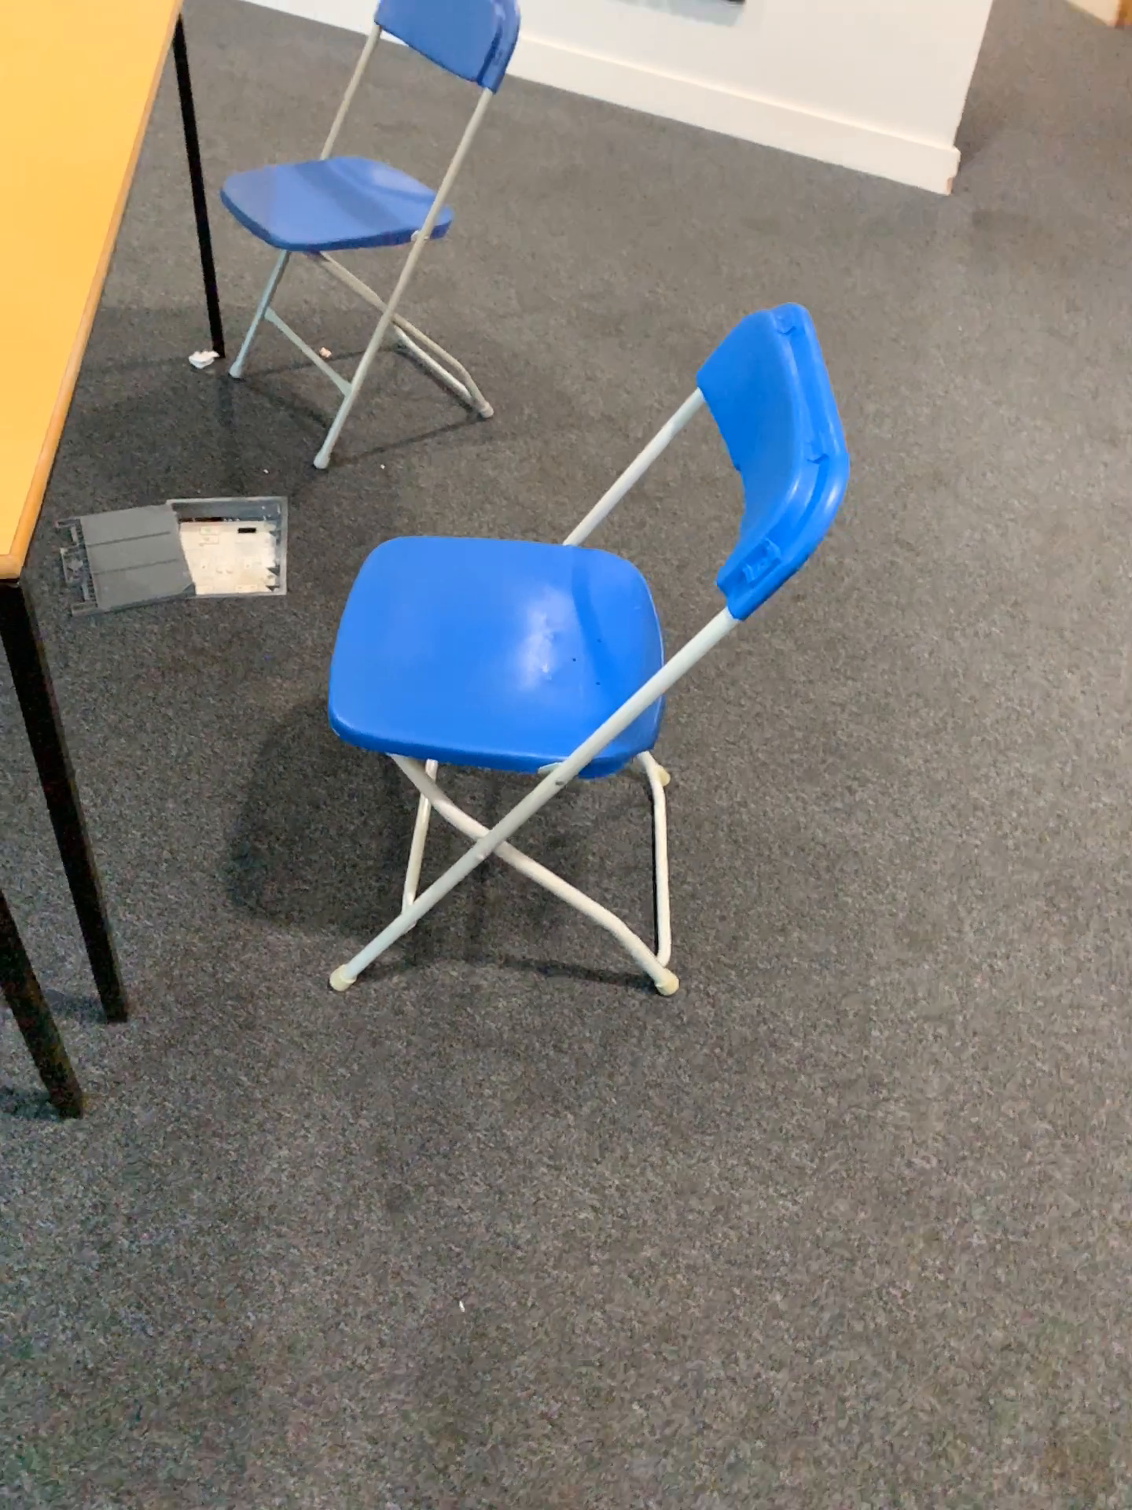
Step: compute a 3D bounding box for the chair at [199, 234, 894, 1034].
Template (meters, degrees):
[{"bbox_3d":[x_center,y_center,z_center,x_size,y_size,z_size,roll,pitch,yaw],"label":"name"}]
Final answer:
[{"bbox_3d":[-0.029,-0.119,1.349,0.550,0.713,0.535,4,45,-1],"label":"chair"}]
